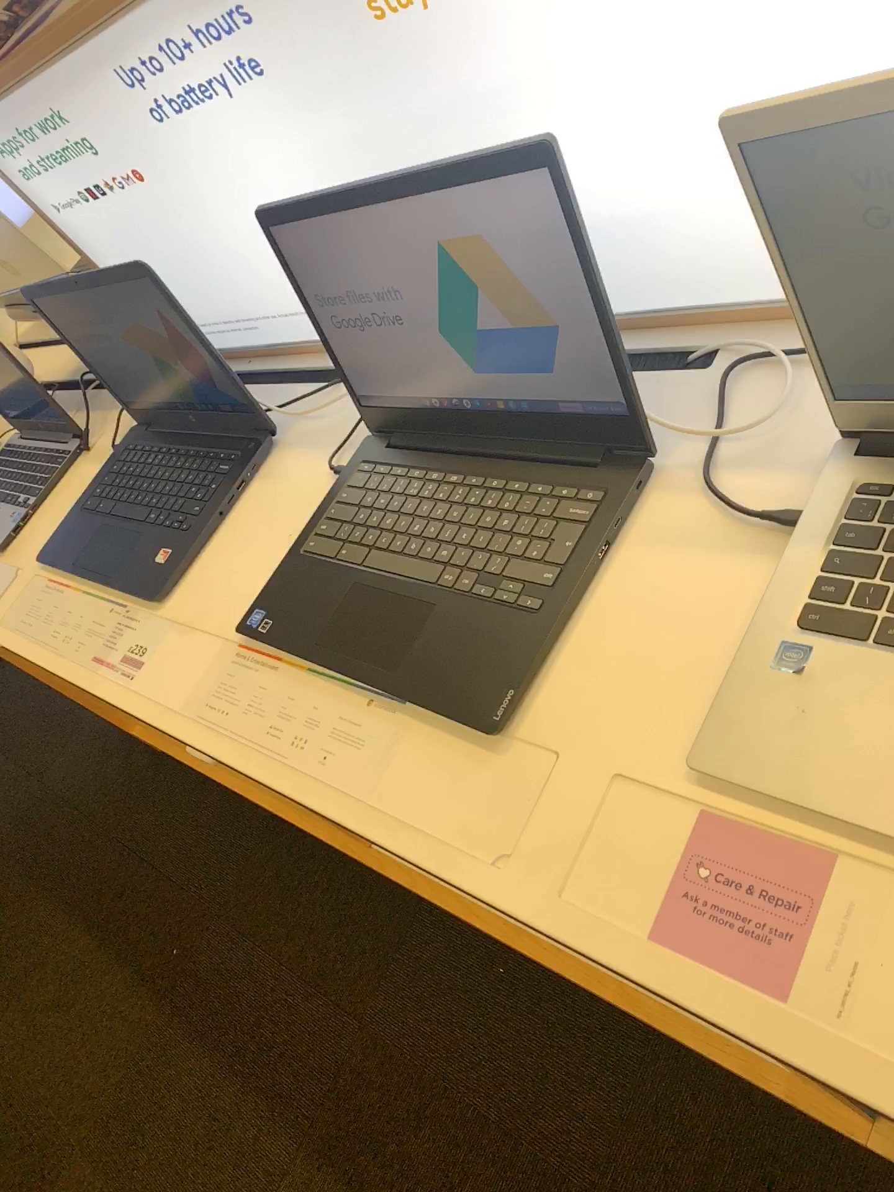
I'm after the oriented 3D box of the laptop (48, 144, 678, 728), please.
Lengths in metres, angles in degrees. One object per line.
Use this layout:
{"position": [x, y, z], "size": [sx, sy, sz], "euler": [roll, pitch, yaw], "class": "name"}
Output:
{"position": [-0.065, -0.116, 0.665], "size": [0.317, 0.201, 0.281], "euler": [14, 67, 46], "class": "laptop"}
